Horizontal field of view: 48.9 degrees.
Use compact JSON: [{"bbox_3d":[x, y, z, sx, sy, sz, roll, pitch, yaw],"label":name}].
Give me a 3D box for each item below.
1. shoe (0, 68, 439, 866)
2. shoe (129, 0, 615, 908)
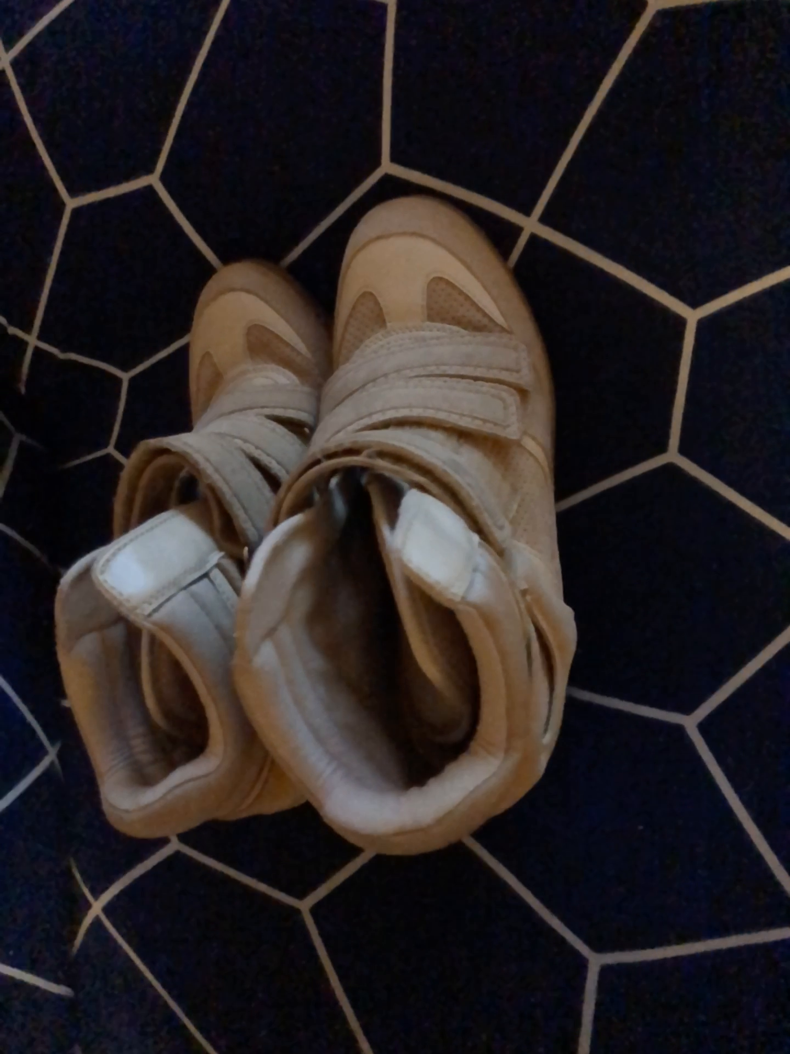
[{"bbox_3d":[-0.078,-0.016,0.358,0.100,0.140,0.260,-16,74,22],"label":"shoe"},{"bbox_3d":[-0.007,-0.027,0.319,0.100,0.130,0.280,-13,76,23],"label":"shoe"}]
